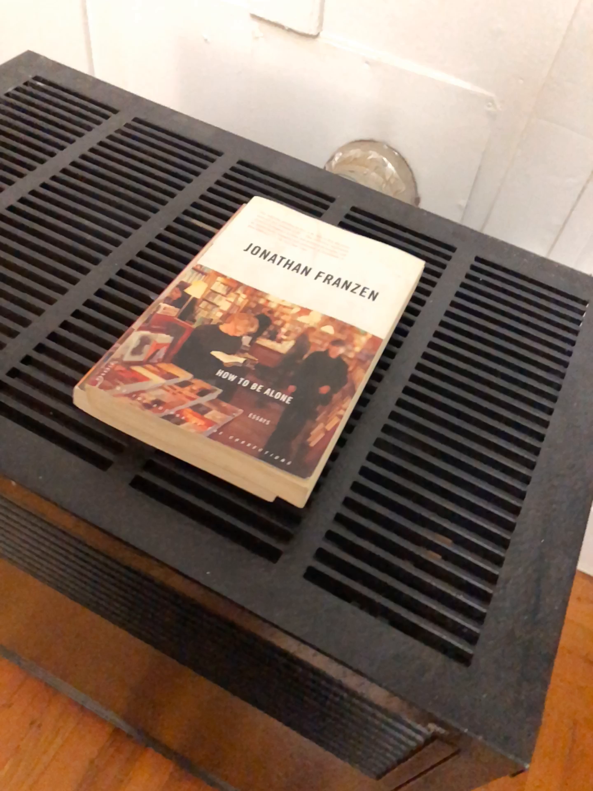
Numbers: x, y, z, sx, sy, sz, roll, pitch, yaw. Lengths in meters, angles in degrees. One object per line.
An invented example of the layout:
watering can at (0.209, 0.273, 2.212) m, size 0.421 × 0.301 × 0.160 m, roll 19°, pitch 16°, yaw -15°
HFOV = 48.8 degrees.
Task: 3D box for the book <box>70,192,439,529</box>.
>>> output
book at (-0.013, -0.039, 0.414) m, size 0.150 × 0.030 × 0.211 m, roll 23°, pitch 52°, yaw 10°

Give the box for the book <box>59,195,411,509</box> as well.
book at (-0.028, -0.045, 0.440) m, size 0.150 × 0.030 × 0.211 m, roll 23°, pitch 52°, yaw 10°
